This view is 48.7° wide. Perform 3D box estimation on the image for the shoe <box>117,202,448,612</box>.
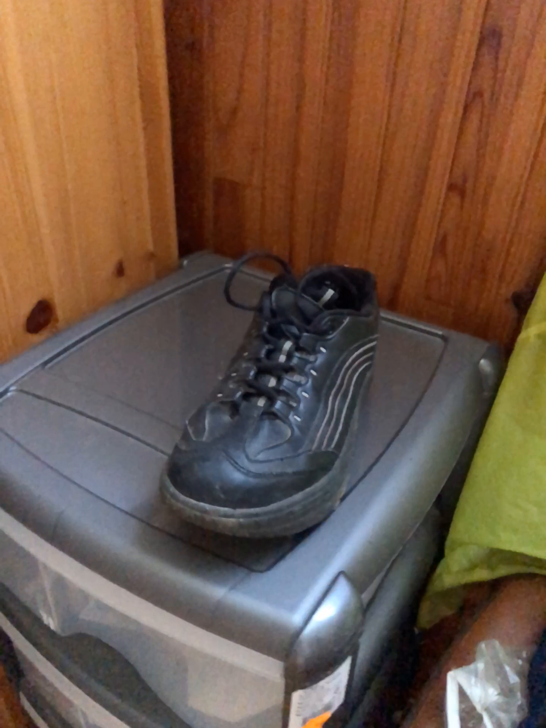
[{"bbox_3d":[0.027,0.001,0.417,0.110,0.129,0.272,16,36,19],"label":"shoe"}]
